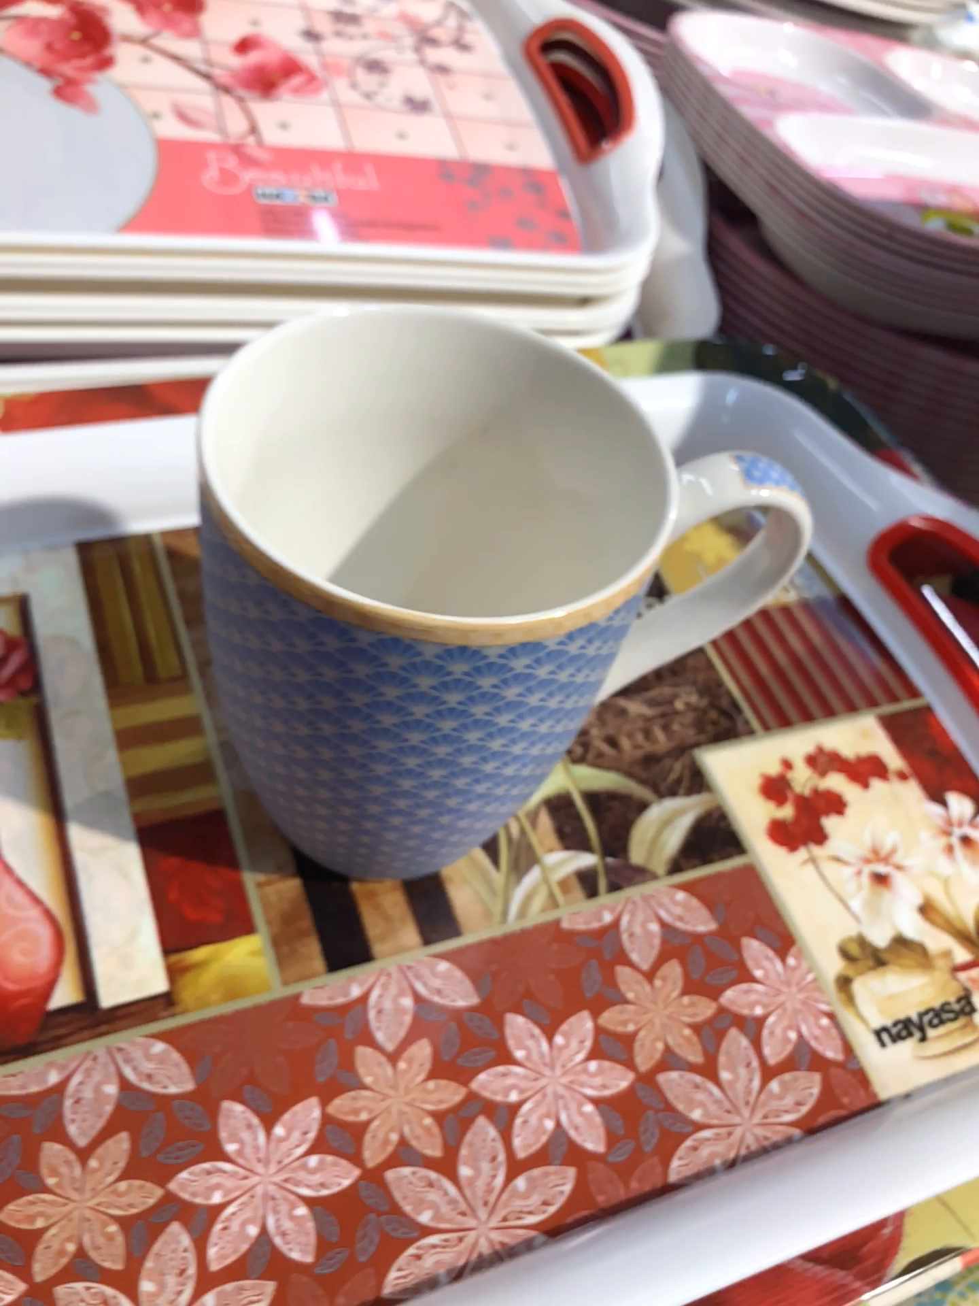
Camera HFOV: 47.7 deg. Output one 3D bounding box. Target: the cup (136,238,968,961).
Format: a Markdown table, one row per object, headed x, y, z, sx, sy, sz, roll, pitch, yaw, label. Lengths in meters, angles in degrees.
| x | y | z | sx | sy | sz | roll | pitch | yaw | label |
| --- | --- | --- | --- | --- | --- | --- | --- | --- | --- |
| 0.001 | -0.015 | 0.220 | 0.120 | 0.099 | 0.080 | -10 | 51 | -24 | cup |
